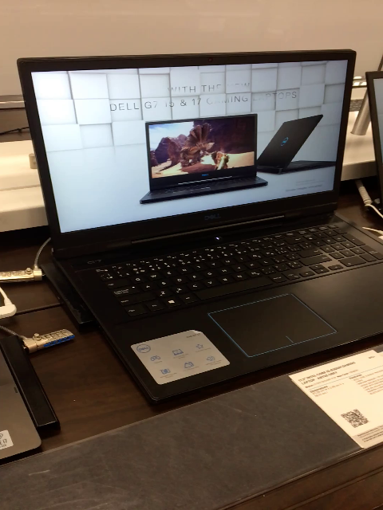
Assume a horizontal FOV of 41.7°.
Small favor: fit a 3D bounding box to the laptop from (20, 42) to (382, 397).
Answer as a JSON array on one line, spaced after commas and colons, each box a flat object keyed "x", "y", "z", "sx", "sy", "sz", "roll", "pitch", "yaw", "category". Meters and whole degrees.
[{"x": 0.089, "y": -0.074, "z": 0.559, "sx": 0.421, "sy": 0.228, "sz": 0.304, "roll": -14, "pitch": 43, "yaw": -23, "category": "laptop"}]
